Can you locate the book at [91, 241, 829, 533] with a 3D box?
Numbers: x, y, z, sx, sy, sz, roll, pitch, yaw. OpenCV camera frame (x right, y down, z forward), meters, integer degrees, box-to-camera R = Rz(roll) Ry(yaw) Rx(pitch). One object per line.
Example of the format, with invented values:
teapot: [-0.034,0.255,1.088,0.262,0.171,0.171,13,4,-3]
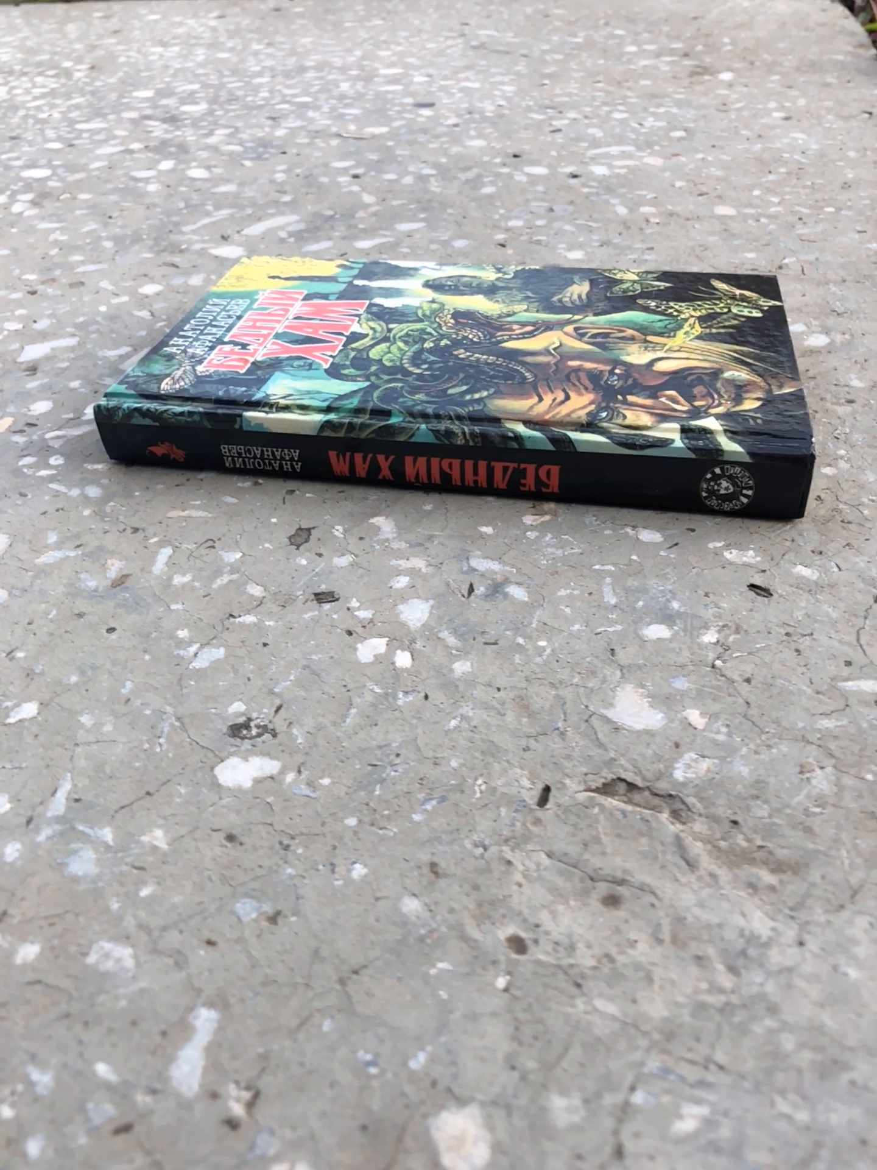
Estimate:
book: [0.013,-0.075,0.324,0.201,0.020,0.143,6,38,9]
